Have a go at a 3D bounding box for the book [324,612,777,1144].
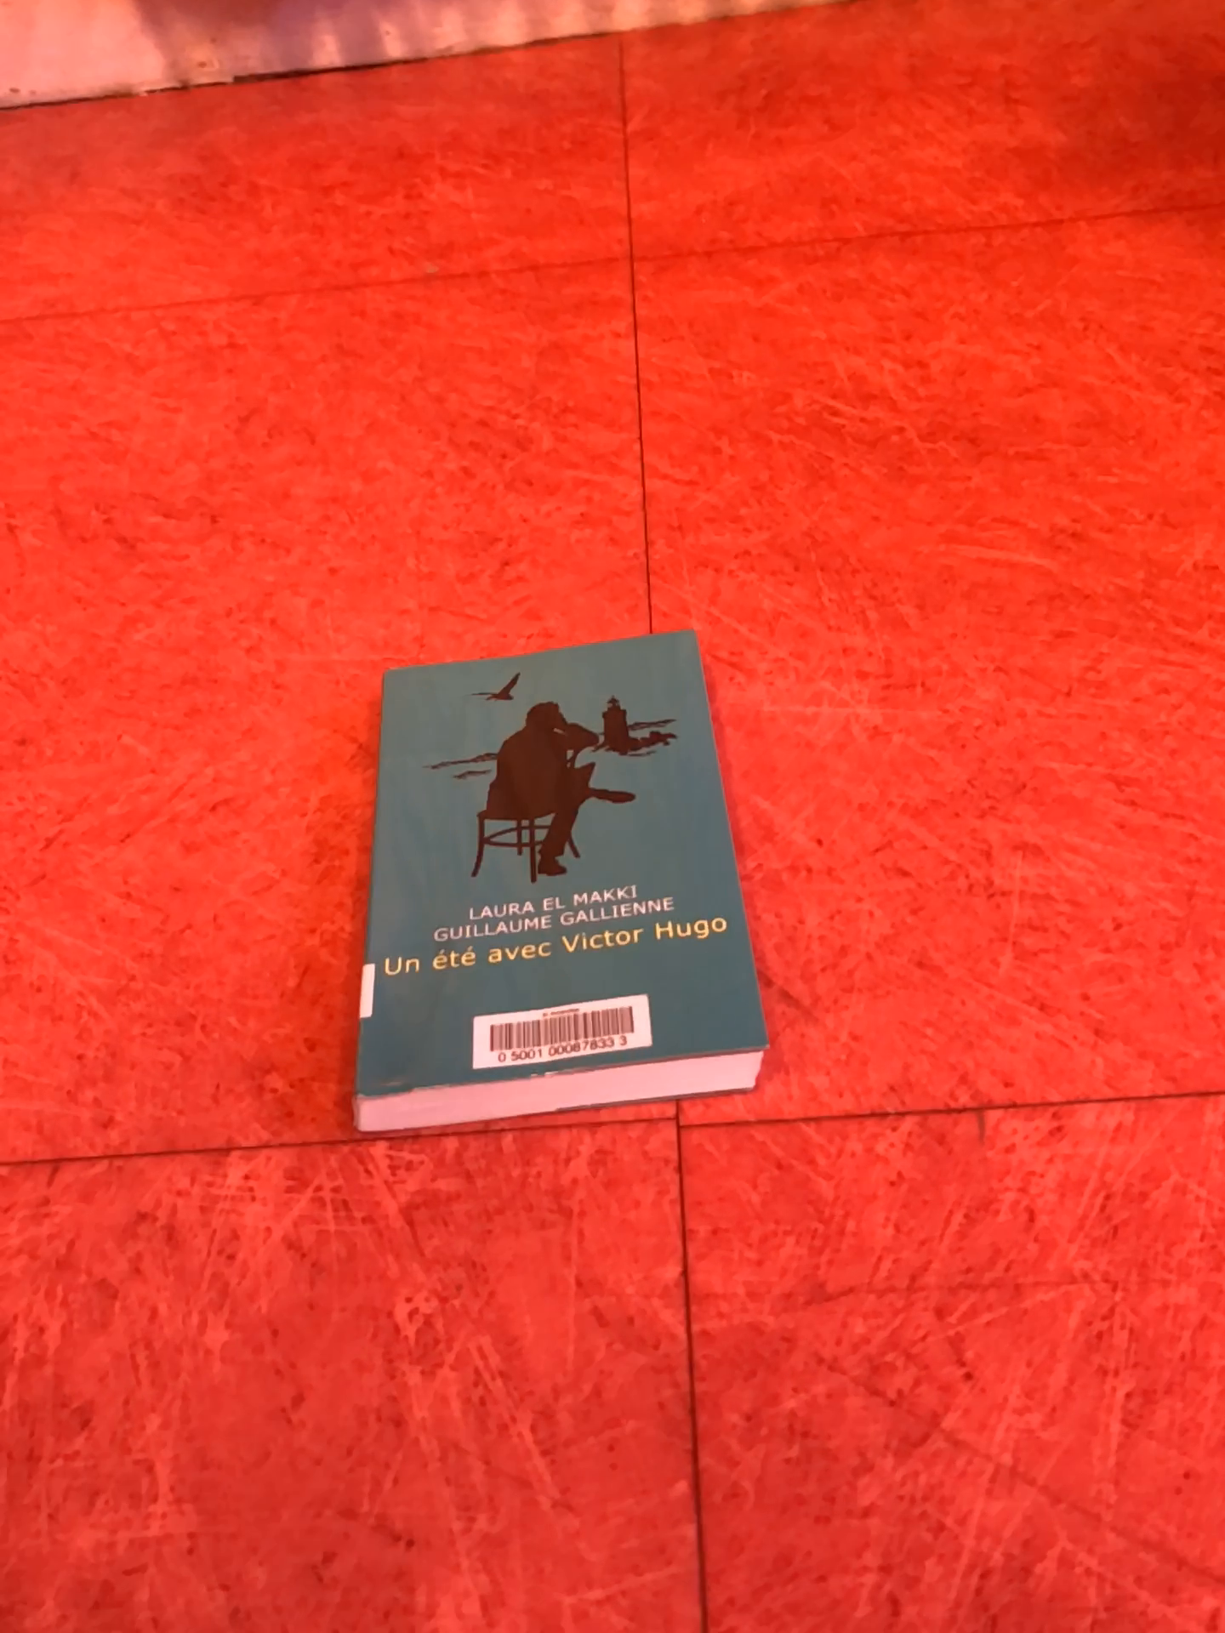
[{"bbox_3d":[-0.019,0.008,0.391,0.110,0.020,0.171,-7,46,2],"label":"book"}]
